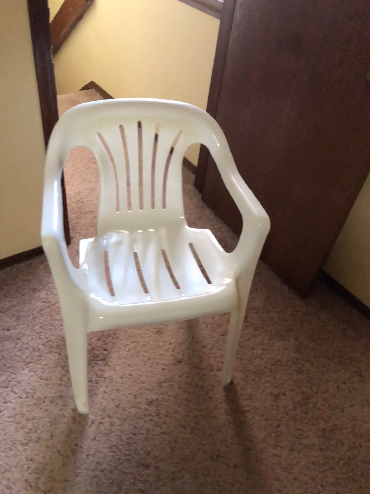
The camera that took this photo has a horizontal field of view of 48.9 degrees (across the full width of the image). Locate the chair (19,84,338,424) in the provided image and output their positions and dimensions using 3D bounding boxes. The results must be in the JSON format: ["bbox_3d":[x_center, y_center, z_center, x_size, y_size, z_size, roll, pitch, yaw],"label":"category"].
[{"bbox_3d":[-0.086,0.030,1.132,0.580,0.768,0.471,-6,44,-16],"label":"chair"}]
